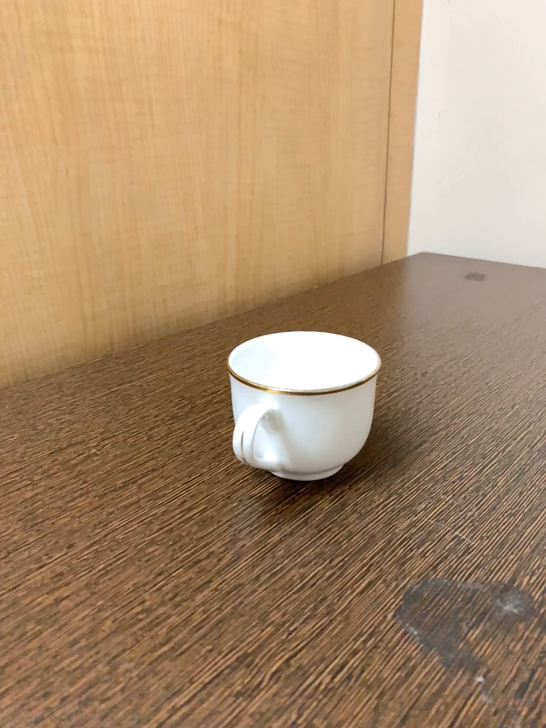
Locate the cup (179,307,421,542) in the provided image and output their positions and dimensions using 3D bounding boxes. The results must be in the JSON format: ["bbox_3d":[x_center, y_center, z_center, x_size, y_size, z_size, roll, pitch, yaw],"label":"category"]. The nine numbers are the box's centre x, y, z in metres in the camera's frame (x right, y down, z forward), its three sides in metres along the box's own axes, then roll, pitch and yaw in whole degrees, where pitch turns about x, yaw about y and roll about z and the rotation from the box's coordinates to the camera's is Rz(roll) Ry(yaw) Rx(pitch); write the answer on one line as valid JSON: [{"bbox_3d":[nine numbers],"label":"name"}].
[{"bbox_3d":[0.016,0.016,0.231,0.060,0.050,0.090,11,25,28],"label":"cup"}]
